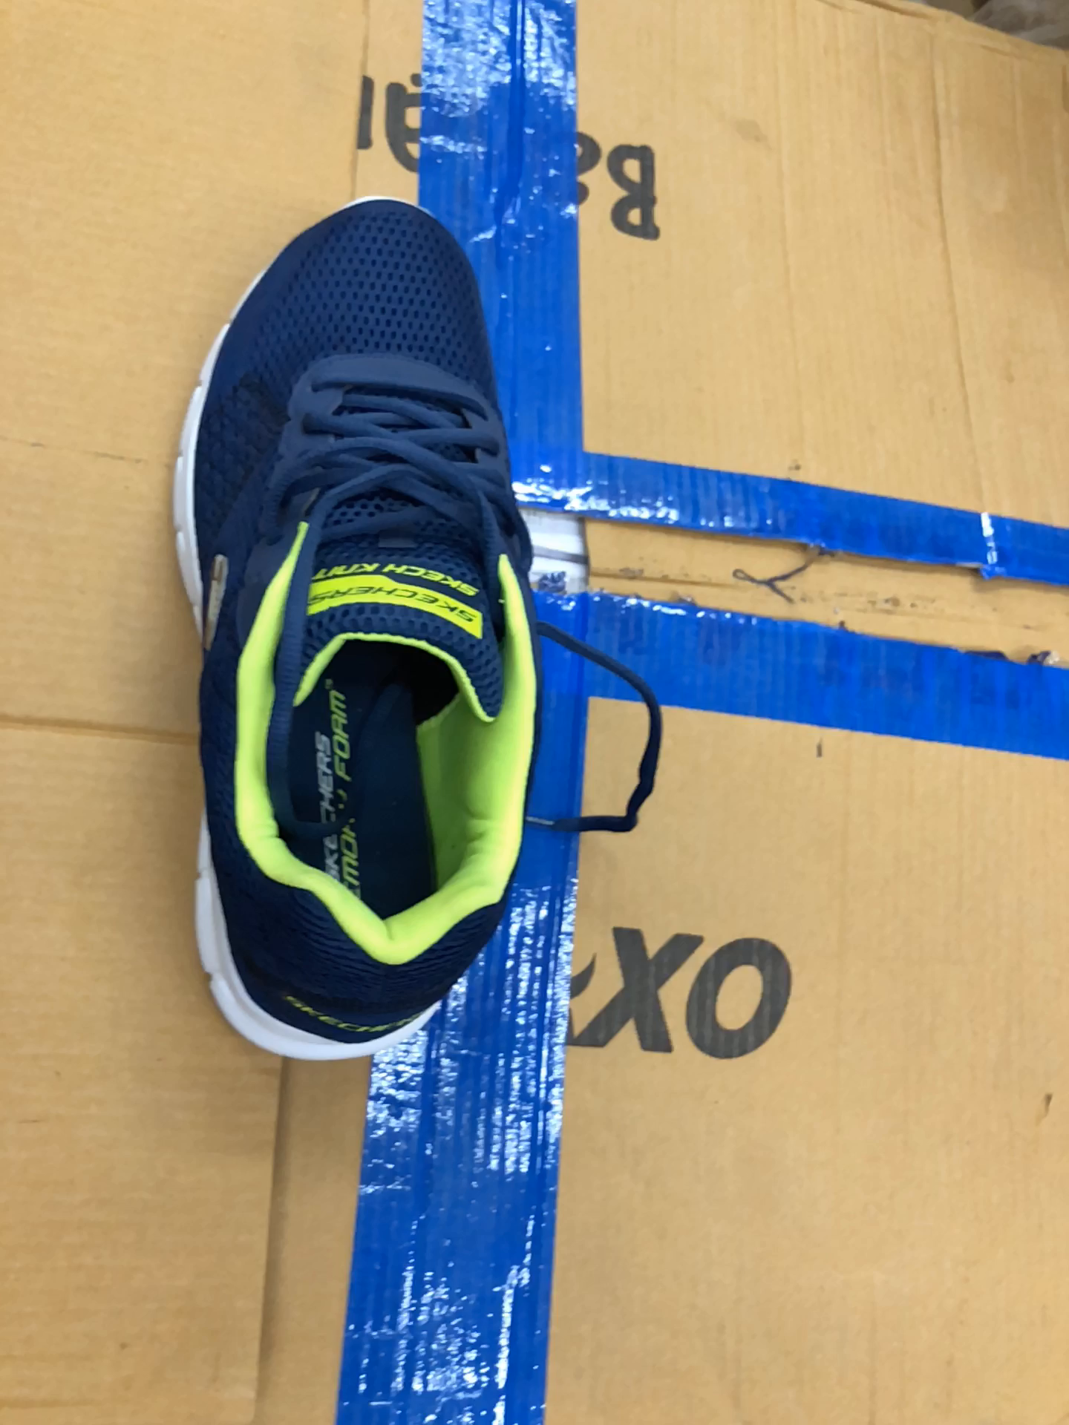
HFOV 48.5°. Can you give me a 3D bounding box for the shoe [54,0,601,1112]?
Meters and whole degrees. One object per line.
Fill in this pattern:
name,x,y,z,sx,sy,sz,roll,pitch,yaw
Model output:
shoe,-0.059,-0.055,0.338,0.106,0.146,0.307,4,75,-16
